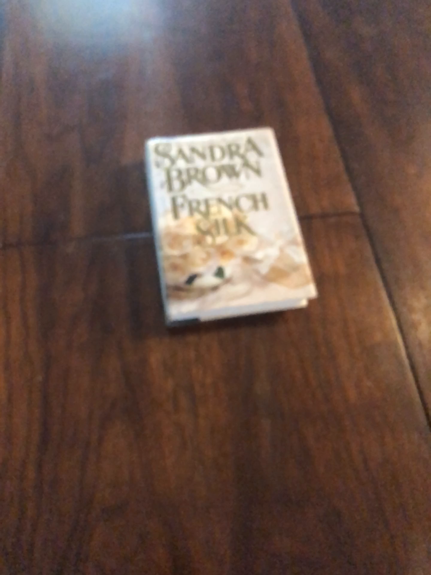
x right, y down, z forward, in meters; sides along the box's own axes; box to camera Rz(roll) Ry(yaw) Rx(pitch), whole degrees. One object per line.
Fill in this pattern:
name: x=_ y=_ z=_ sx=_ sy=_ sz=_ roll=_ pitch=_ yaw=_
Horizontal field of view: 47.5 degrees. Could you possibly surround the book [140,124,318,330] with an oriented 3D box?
book: x=0.007 y=-0.079 z=0.565 sx=0.161 sy=0.033 sz=0.240 roll=-8 pitch=65 yaw=-6
